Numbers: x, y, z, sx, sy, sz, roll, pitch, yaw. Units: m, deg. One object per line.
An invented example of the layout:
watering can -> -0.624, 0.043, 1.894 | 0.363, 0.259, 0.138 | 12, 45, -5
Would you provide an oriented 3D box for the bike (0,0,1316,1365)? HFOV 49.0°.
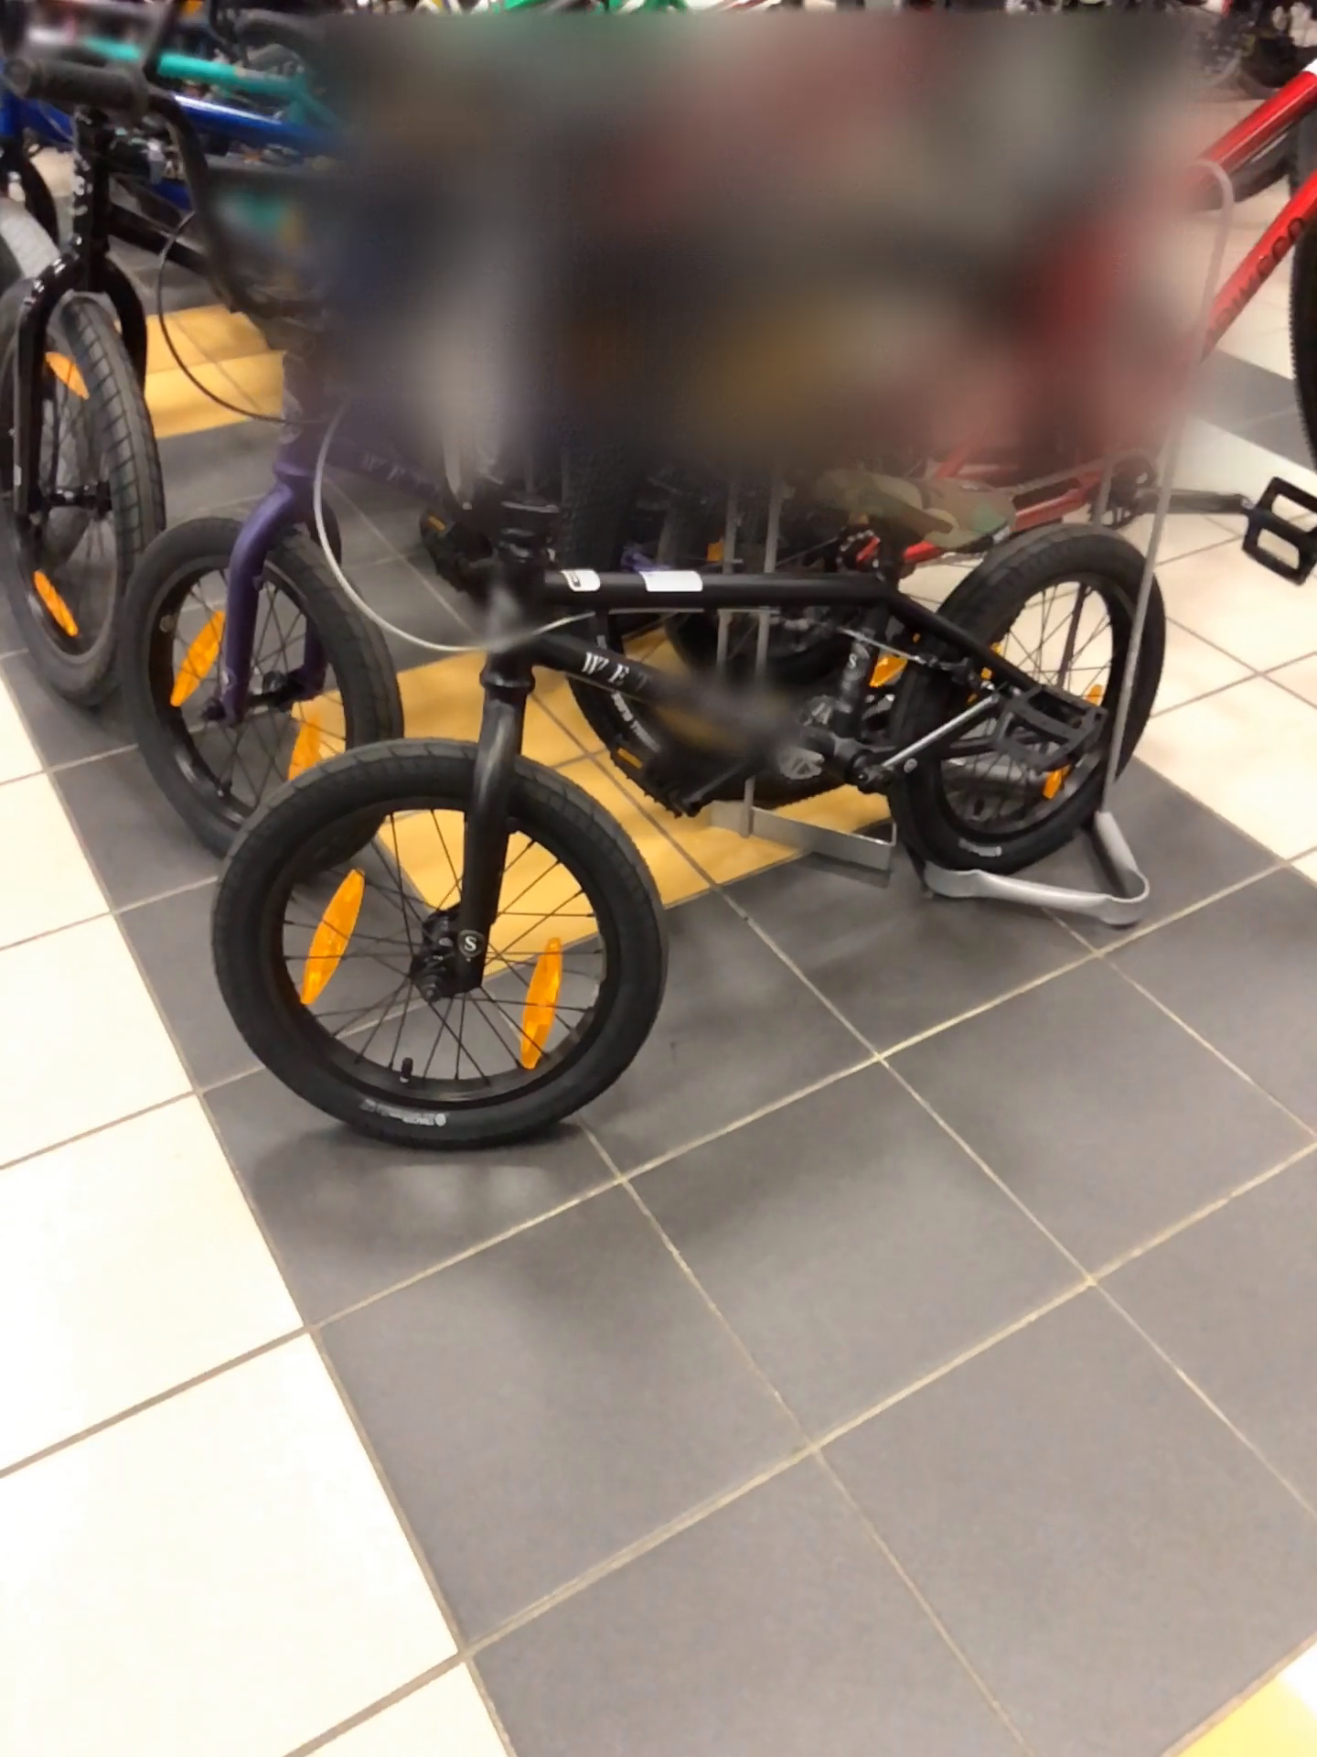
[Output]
bike -> 0.113, -0.268, 1.290 | 1.073, 0.810, 0.679 | -16, 42, -23
